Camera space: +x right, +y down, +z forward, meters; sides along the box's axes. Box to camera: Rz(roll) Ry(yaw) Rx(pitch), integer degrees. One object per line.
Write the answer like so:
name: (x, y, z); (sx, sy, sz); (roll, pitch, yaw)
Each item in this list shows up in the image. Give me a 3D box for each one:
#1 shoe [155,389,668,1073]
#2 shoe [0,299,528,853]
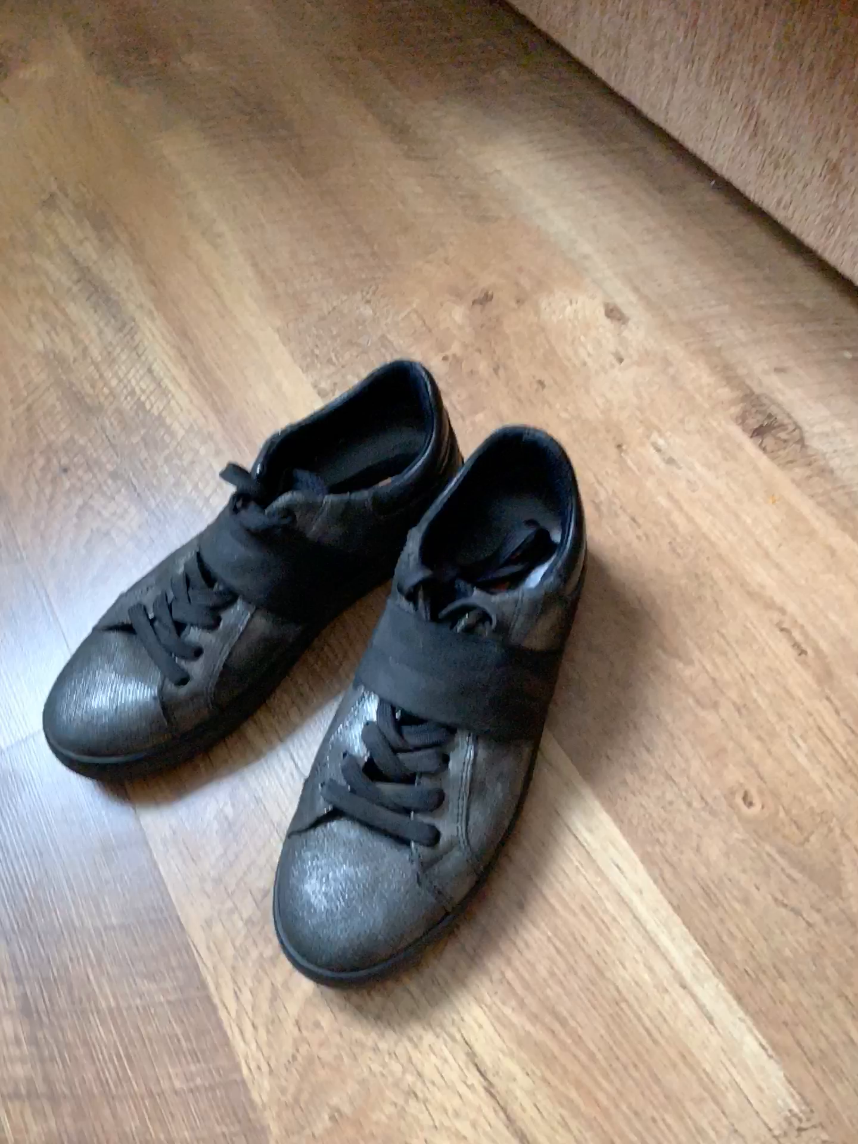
shoe: (0.009, 0.058, 0.383); (0.100, 0.090, 0.260); (20, 65, 16)
shoe: (-0.081, -0.004, 0.423); (0.260, 0.090, 0.100); (-40, 64, -16)
